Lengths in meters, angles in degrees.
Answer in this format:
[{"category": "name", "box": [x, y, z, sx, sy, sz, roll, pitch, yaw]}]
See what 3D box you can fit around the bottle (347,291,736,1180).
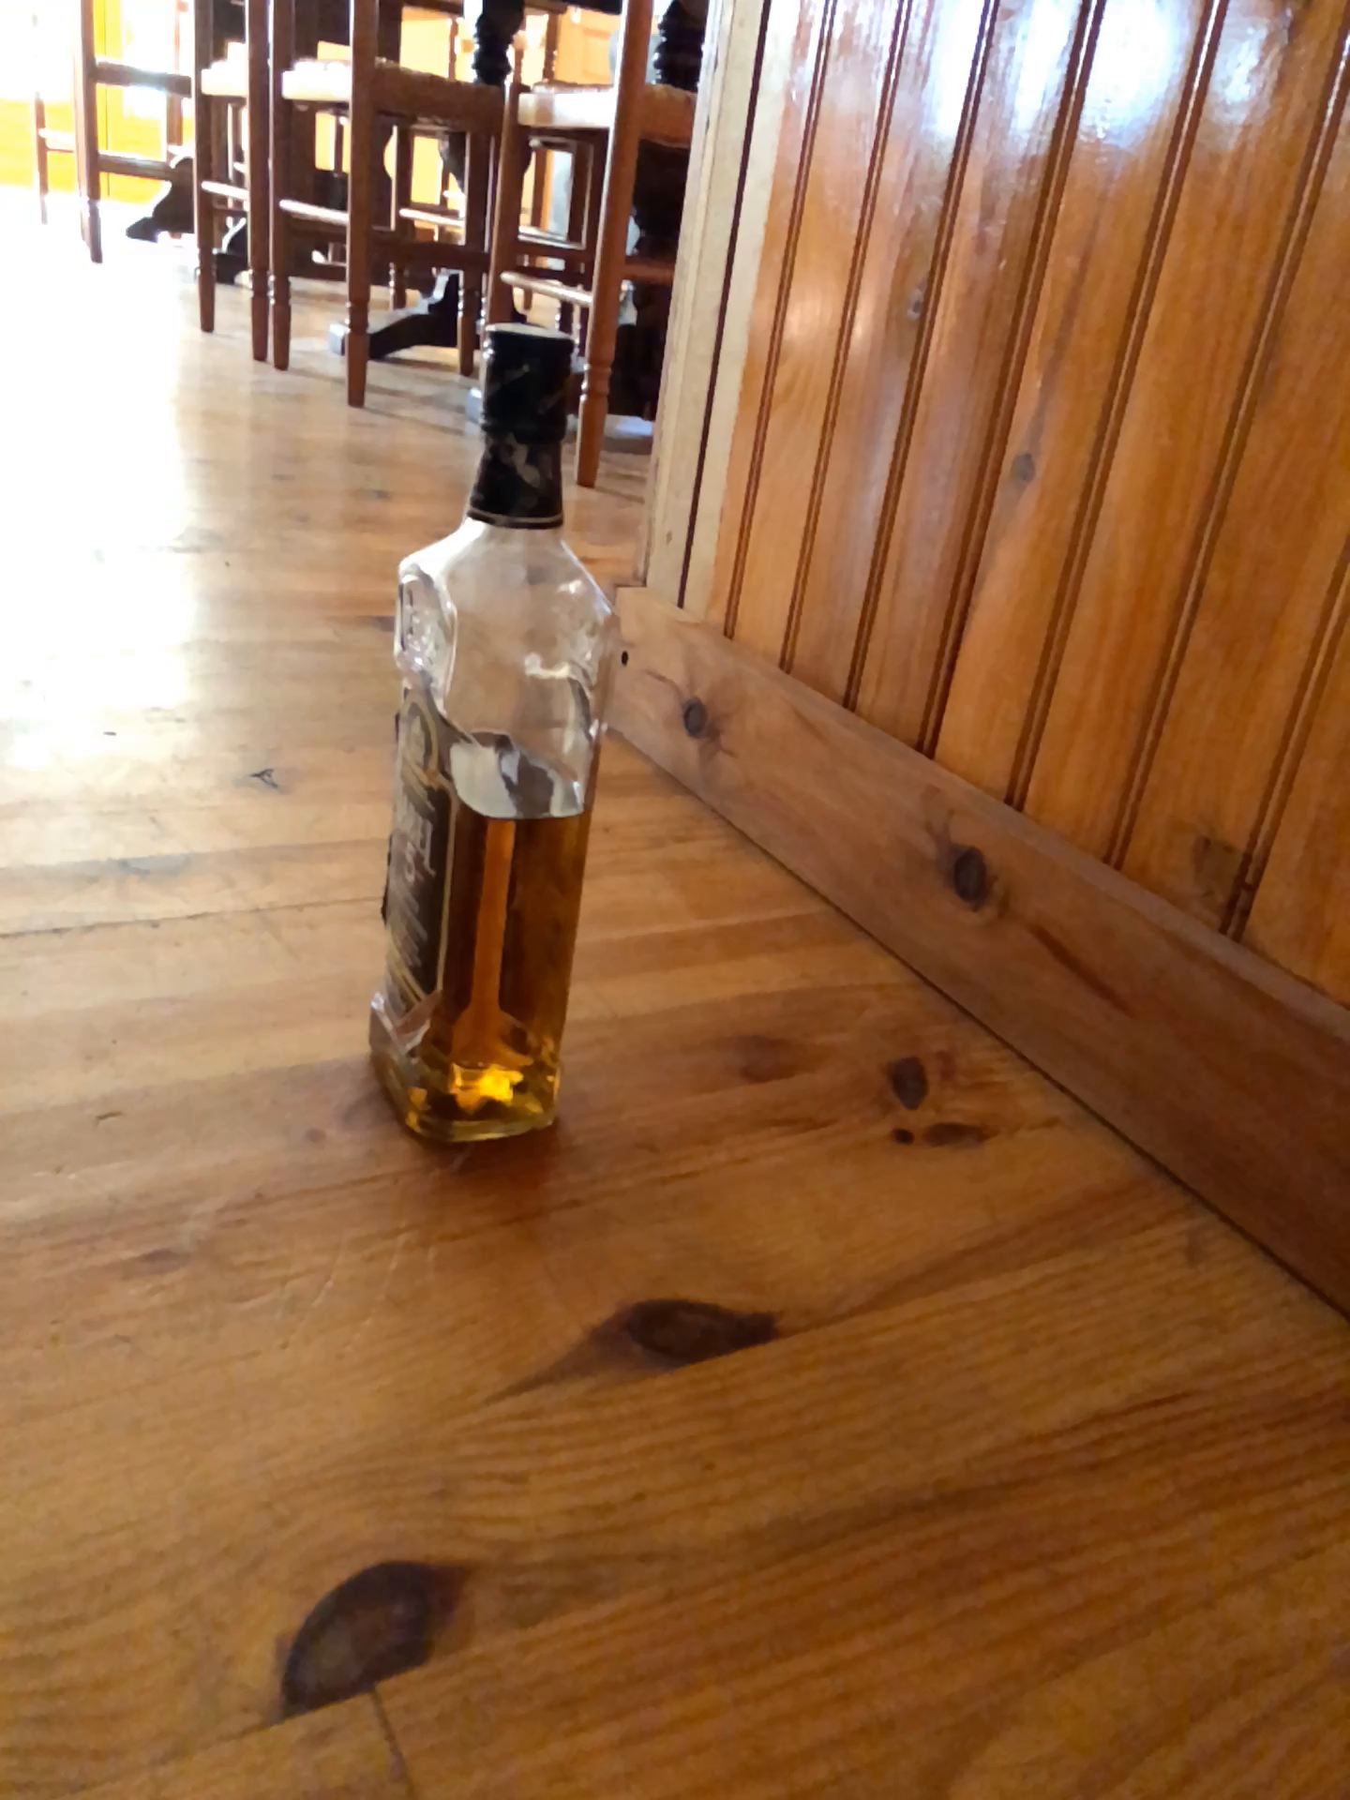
[{"category": "bottle", "box": [-0.061, -0.058, 0.539, 0.080, 0.288, 0.120, -3, 26, -24]}]
